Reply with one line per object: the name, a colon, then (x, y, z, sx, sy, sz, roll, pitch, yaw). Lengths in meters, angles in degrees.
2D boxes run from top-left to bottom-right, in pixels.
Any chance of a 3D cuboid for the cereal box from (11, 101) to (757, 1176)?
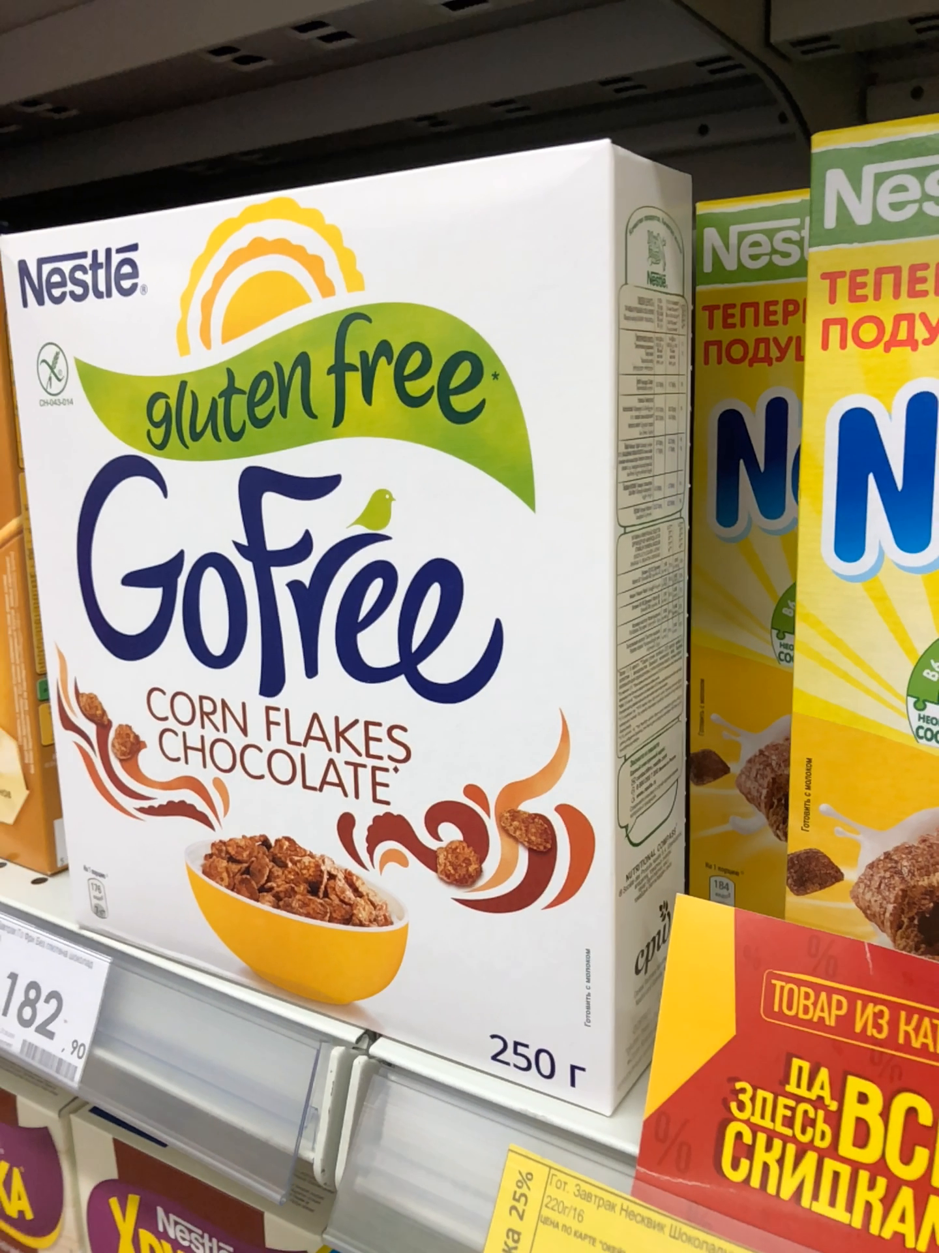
cereal box: (-0.032, -0.002, 0.283, 0.200, 0.219, 0.050, 6, 13, 33)
